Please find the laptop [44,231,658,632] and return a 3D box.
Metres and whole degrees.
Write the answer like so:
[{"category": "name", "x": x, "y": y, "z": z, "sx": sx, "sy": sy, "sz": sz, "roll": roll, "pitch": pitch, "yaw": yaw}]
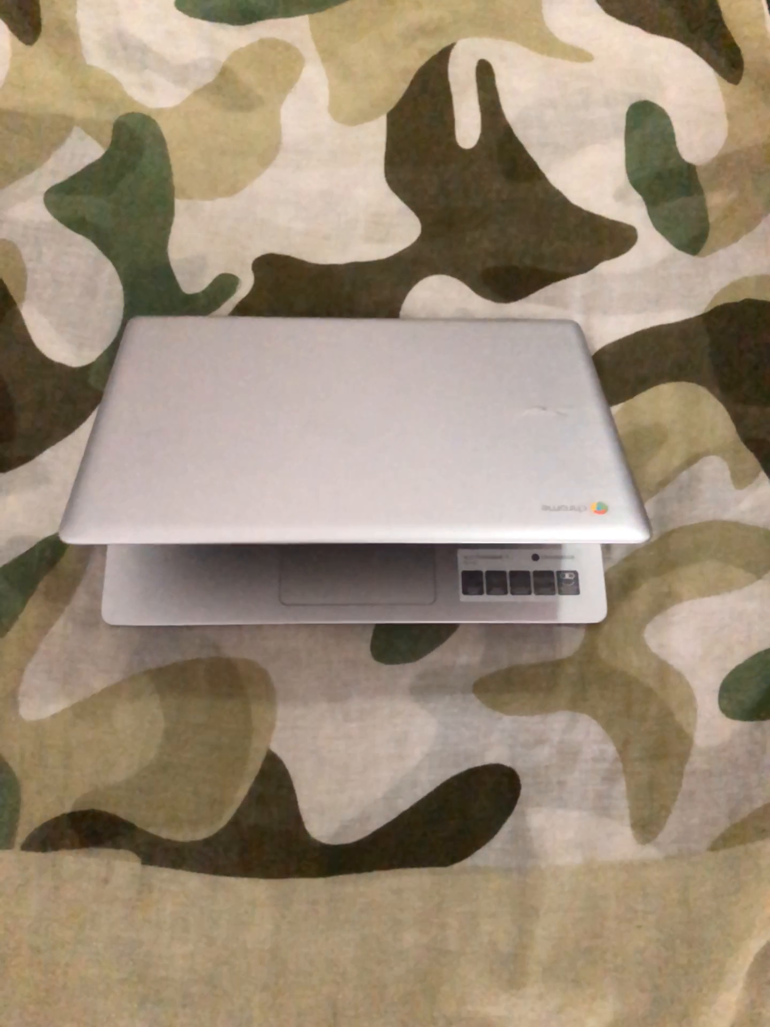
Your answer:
[{"category": "laptop", "x": -0.021, "y": -0.048, "z": 0.540, "sx": 0.311, "sy": 0.125, "sz": 0.233, "roll": 0, "pitch": 66, "yaw": -2}]
